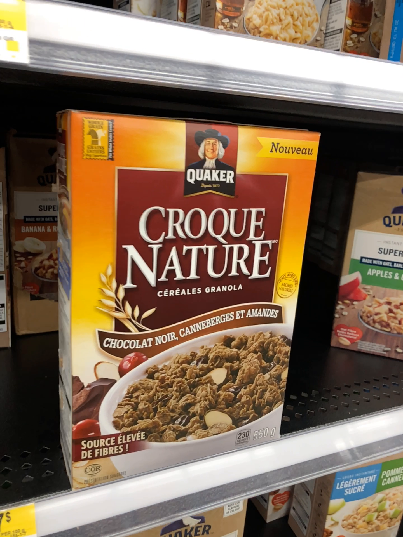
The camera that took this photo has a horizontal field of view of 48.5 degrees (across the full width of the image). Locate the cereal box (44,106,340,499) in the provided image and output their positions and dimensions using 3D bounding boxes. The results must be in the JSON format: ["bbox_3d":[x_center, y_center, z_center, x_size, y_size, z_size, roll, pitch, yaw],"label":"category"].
[{"bbox_3d":[-0.010,0.021,0.299,0.170,0.229,0.050,-3,19,-24],"label":"cereal box"}]
